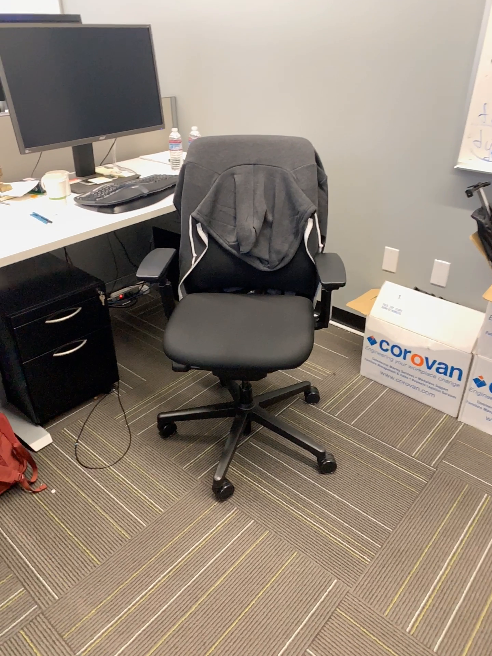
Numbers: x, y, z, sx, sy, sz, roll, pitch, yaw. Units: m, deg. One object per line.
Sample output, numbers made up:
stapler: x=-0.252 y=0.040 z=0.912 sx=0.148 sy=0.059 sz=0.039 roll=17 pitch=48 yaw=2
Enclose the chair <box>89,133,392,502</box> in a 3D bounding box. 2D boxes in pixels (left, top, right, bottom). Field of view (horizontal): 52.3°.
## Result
chair: x=-0.011 y=-0.073 z=1.722 sx=0.680 sy=0.994 sz=0.805 roll=0 pitch=30 yaw=0
